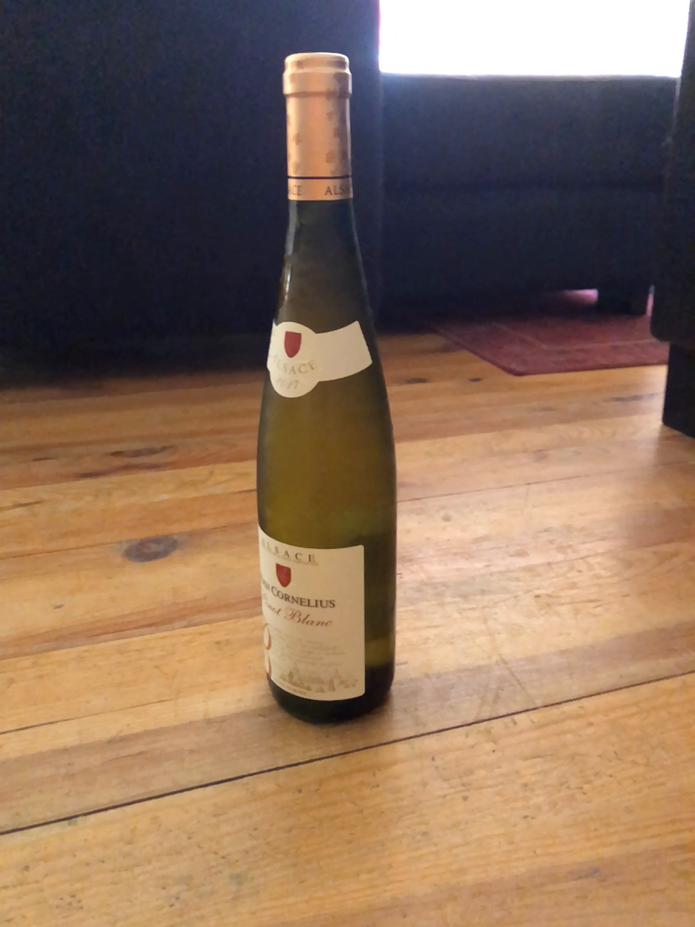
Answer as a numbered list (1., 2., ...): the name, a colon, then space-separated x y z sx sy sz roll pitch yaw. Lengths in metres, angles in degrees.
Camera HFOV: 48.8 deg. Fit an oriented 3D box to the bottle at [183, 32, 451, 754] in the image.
1. bottle: -0.010 -0.024 0.380 0.080 0.318 0.080 -1 21 0
